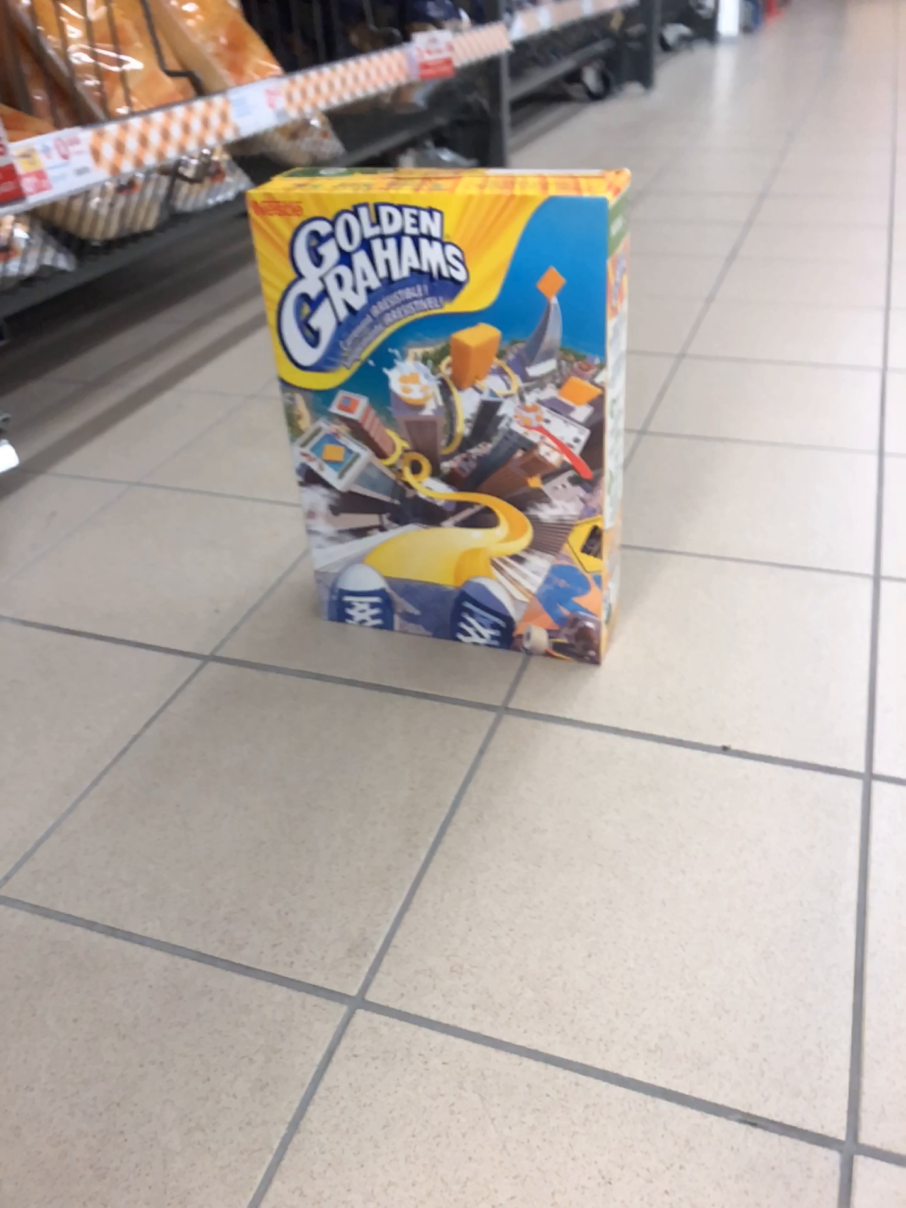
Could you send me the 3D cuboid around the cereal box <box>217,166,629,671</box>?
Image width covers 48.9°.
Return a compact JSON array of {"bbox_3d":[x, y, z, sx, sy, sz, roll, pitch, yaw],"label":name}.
[{"bbox_3d":[-0.009,-0.105,0.583,0.200,0.268,0.071,8,34,17],"label":"cereal box"}]
